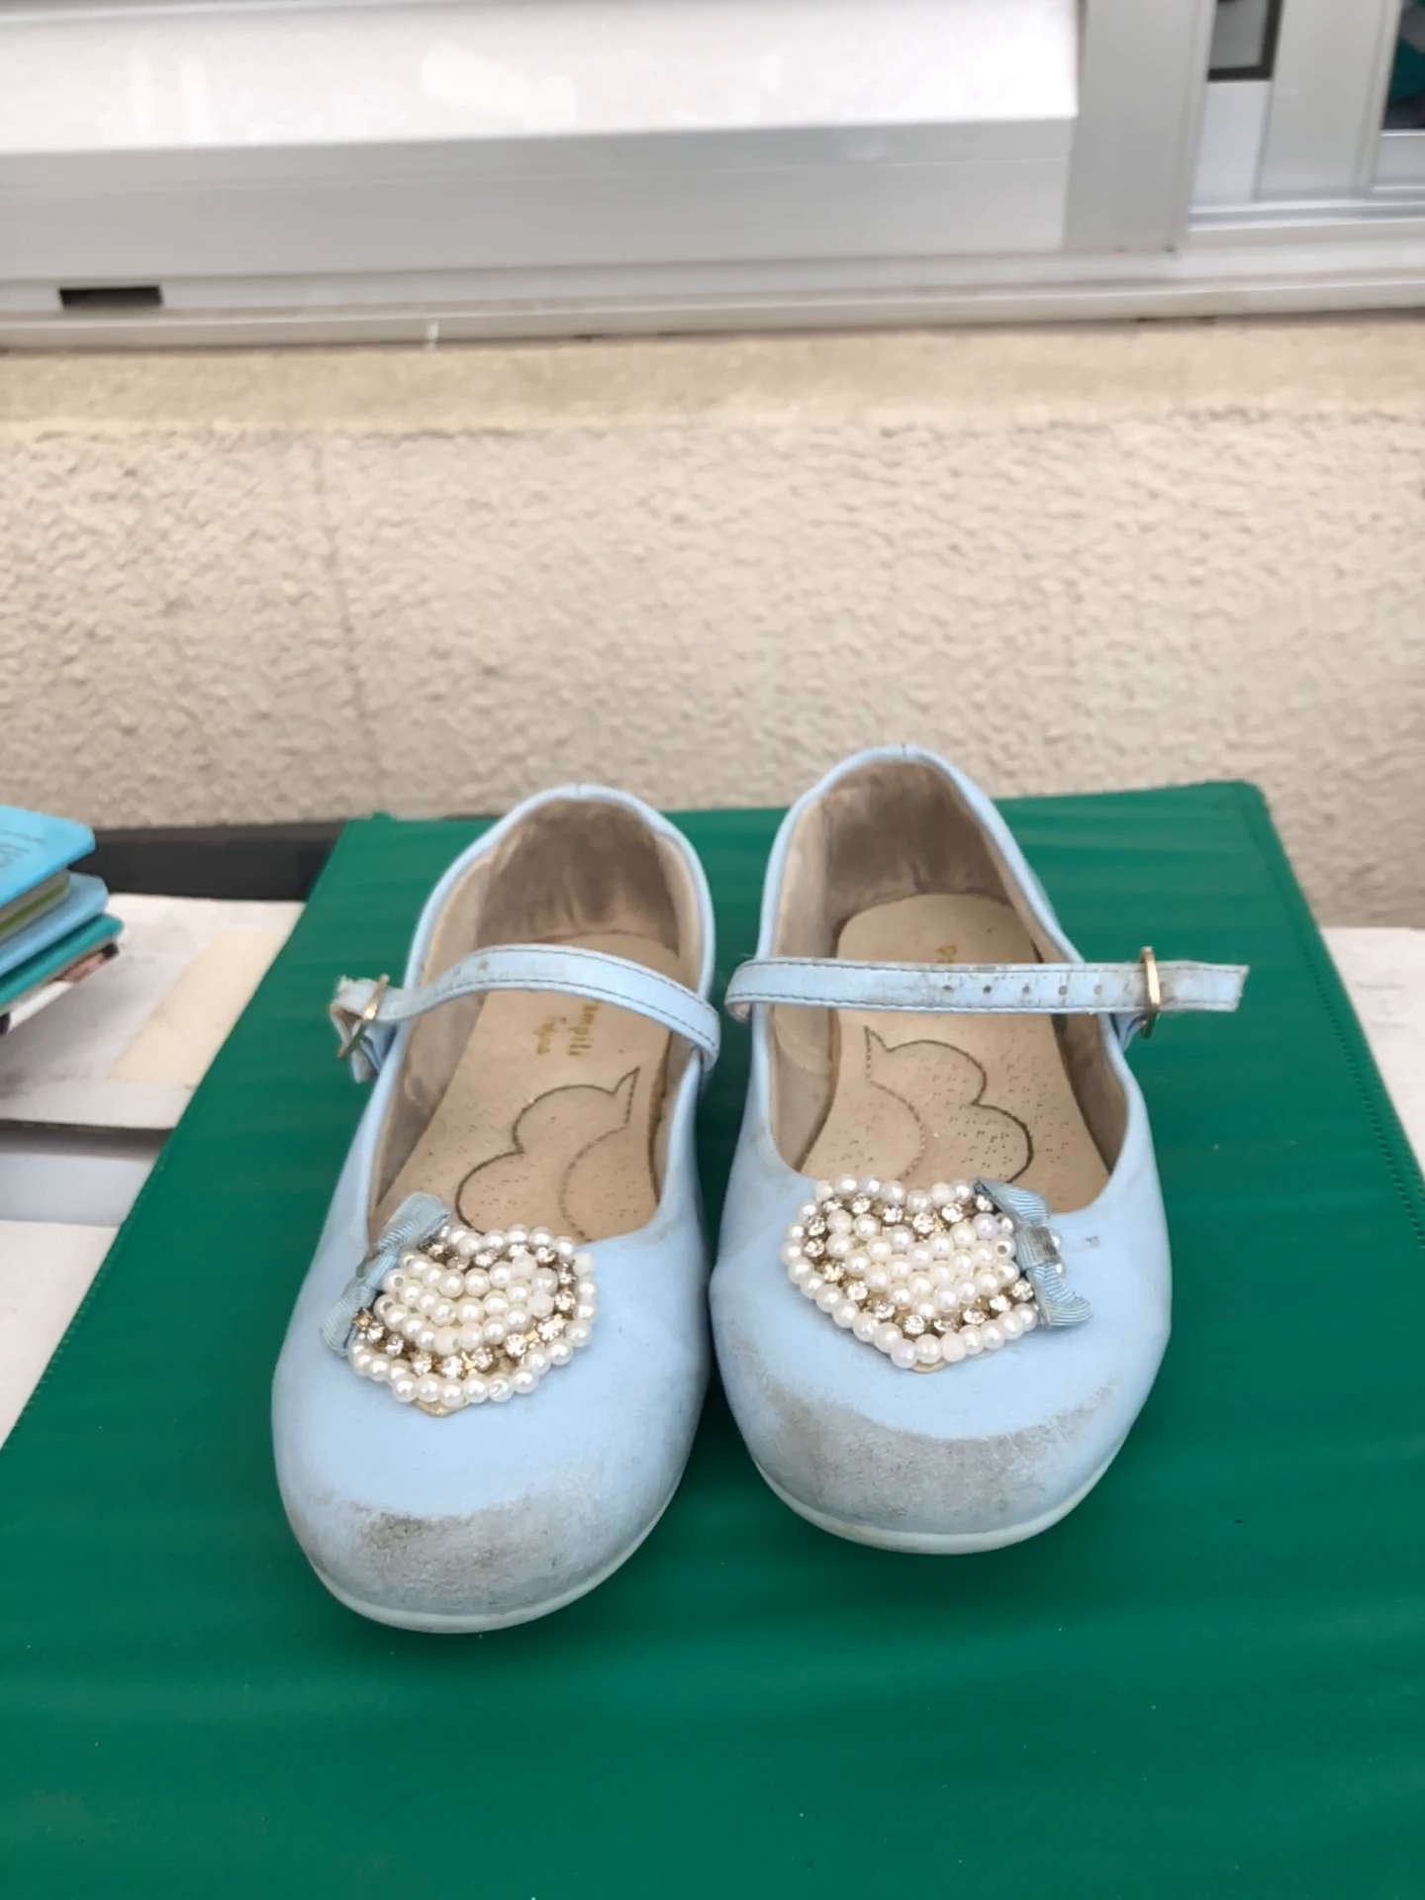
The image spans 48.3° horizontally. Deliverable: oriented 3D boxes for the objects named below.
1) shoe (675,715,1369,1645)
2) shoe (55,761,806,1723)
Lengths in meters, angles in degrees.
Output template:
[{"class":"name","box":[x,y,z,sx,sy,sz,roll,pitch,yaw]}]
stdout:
[{"class":"shoe","box":[0.041,0.022,0.269,0.080,0.050,0.171,0,35,4]},{"class":"shoe","box":[-0.028,0.032,0.267,0.086,0.050,0.171,0,35,4]}]
